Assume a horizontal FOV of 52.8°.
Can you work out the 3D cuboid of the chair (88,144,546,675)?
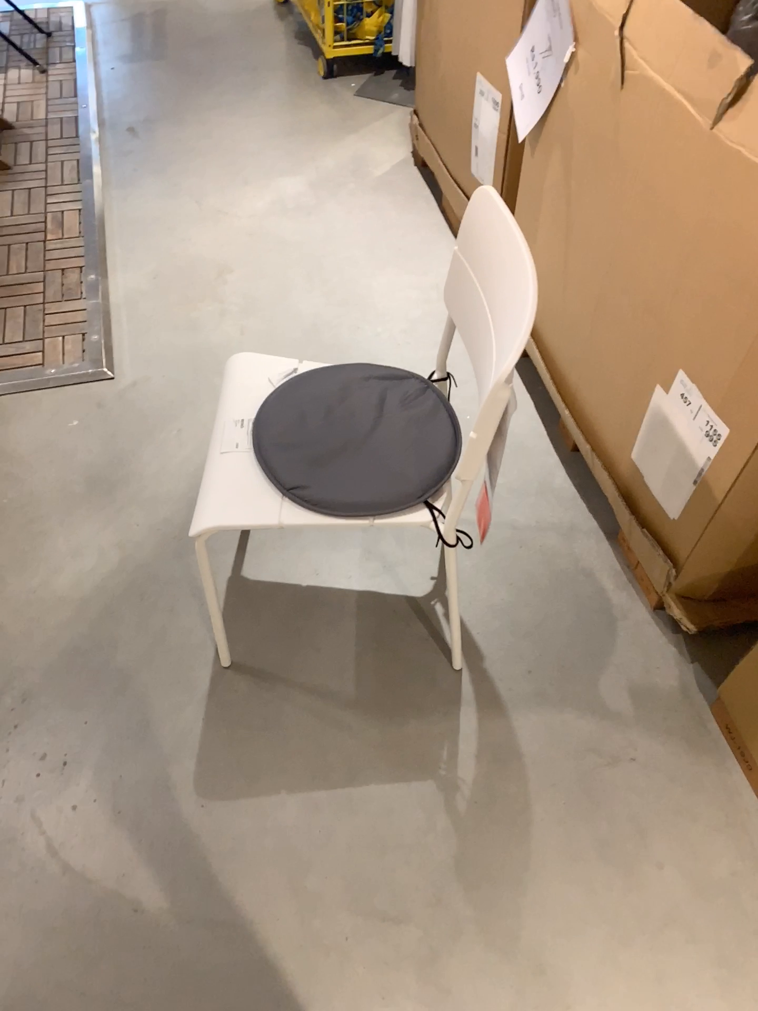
[{"bbox_3d":[-0.069,-0.108,1.242,0.490,0.718,0.461,3,51,0],"label":"chair"}]
